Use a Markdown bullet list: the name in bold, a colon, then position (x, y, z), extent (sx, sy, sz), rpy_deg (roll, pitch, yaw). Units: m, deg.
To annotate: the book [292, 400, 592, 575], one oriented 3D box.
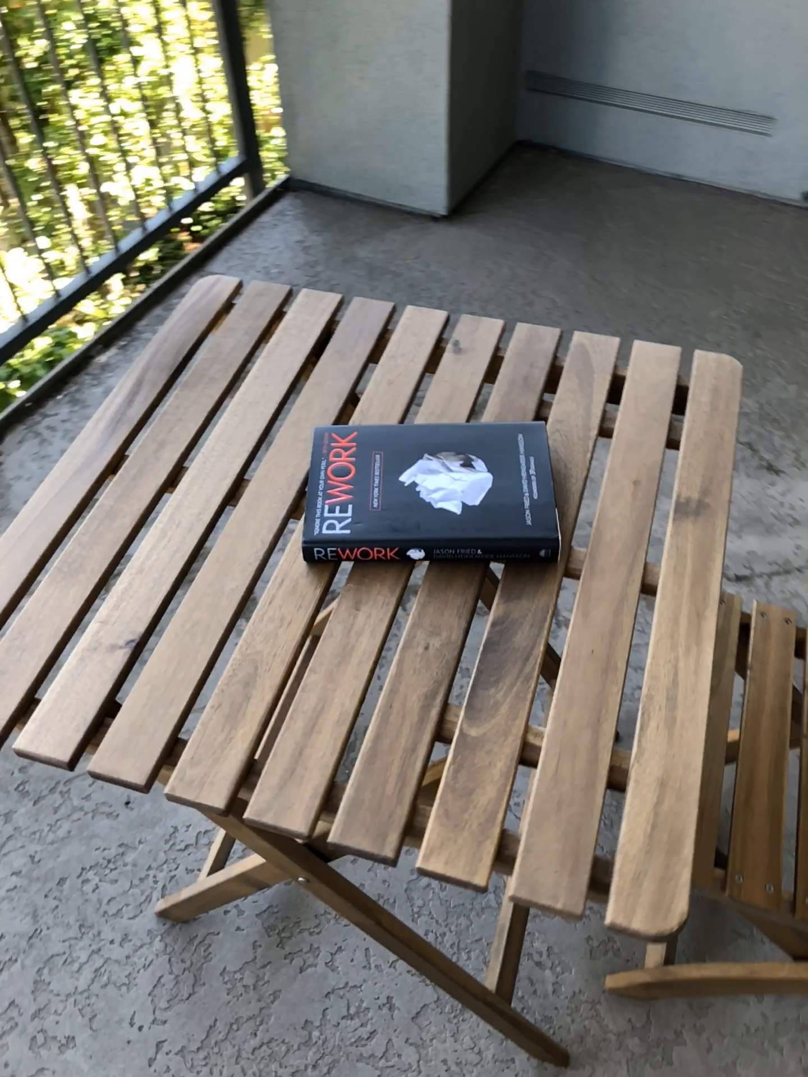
- **book**: position (0.031, -0.048, 0.785), extent (0.240, 0.040, 0.171), rpy_deg (0, 50, 2)
